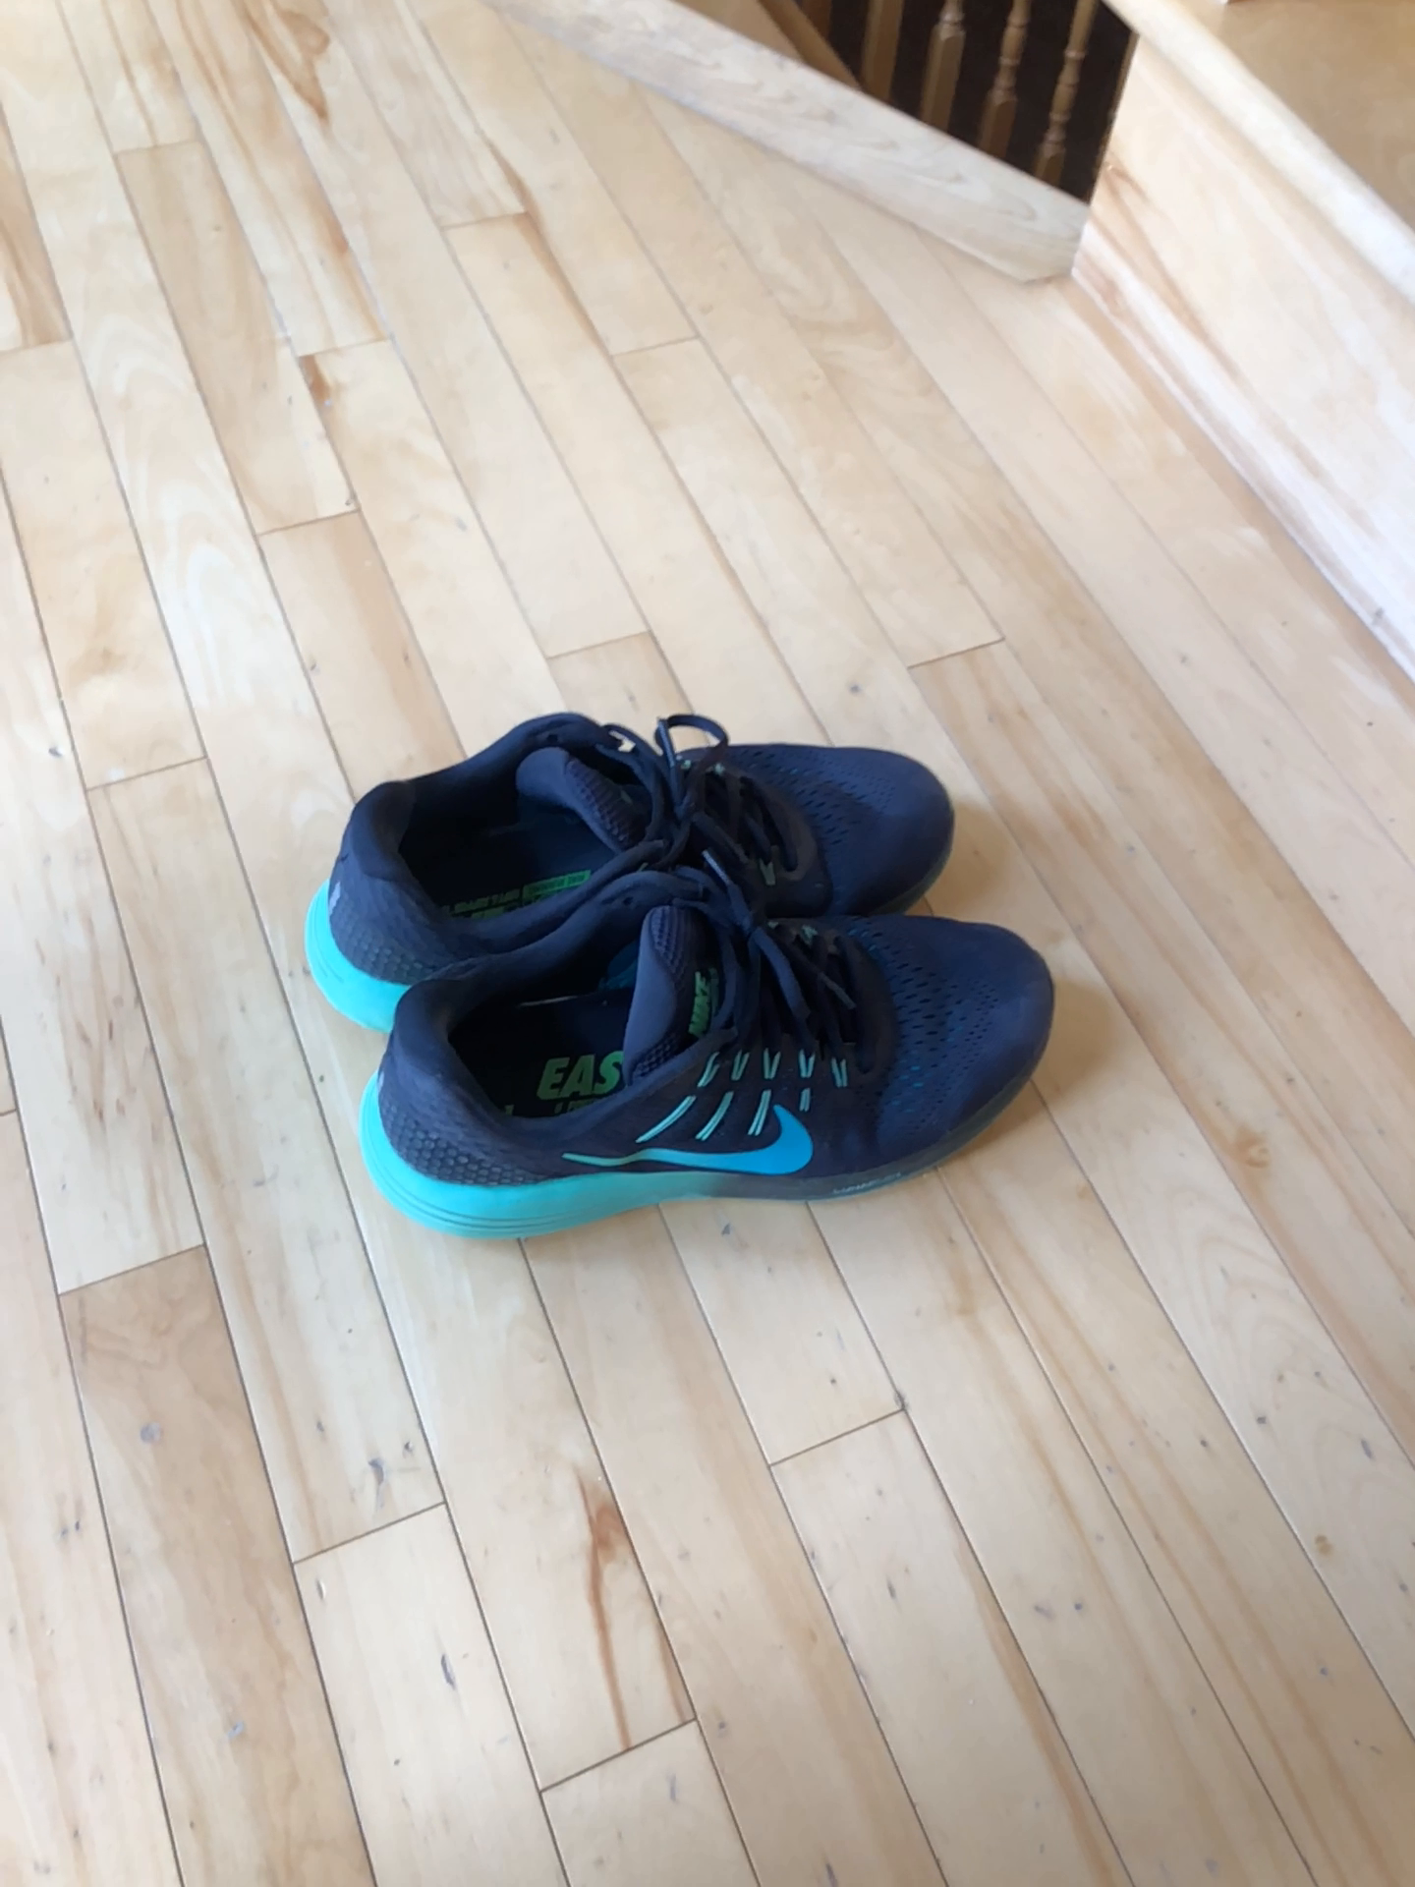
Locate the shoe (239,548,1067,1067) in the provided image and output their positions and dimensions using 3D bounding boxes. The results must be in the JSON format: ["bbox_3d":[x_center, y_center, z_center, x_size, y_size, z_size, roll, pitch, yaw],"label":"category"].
[{"bbox_3d":[-0.024,-0.058,0.629,0.290,0.100,0.120,-12,59,-11],"label":"shoe"}]

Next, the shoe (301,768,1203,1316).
[{"bbox_3d":[0.011,0.034,0.578,0.290,0.100,0.120,-10,59,-10],"label":"shoe"}]
